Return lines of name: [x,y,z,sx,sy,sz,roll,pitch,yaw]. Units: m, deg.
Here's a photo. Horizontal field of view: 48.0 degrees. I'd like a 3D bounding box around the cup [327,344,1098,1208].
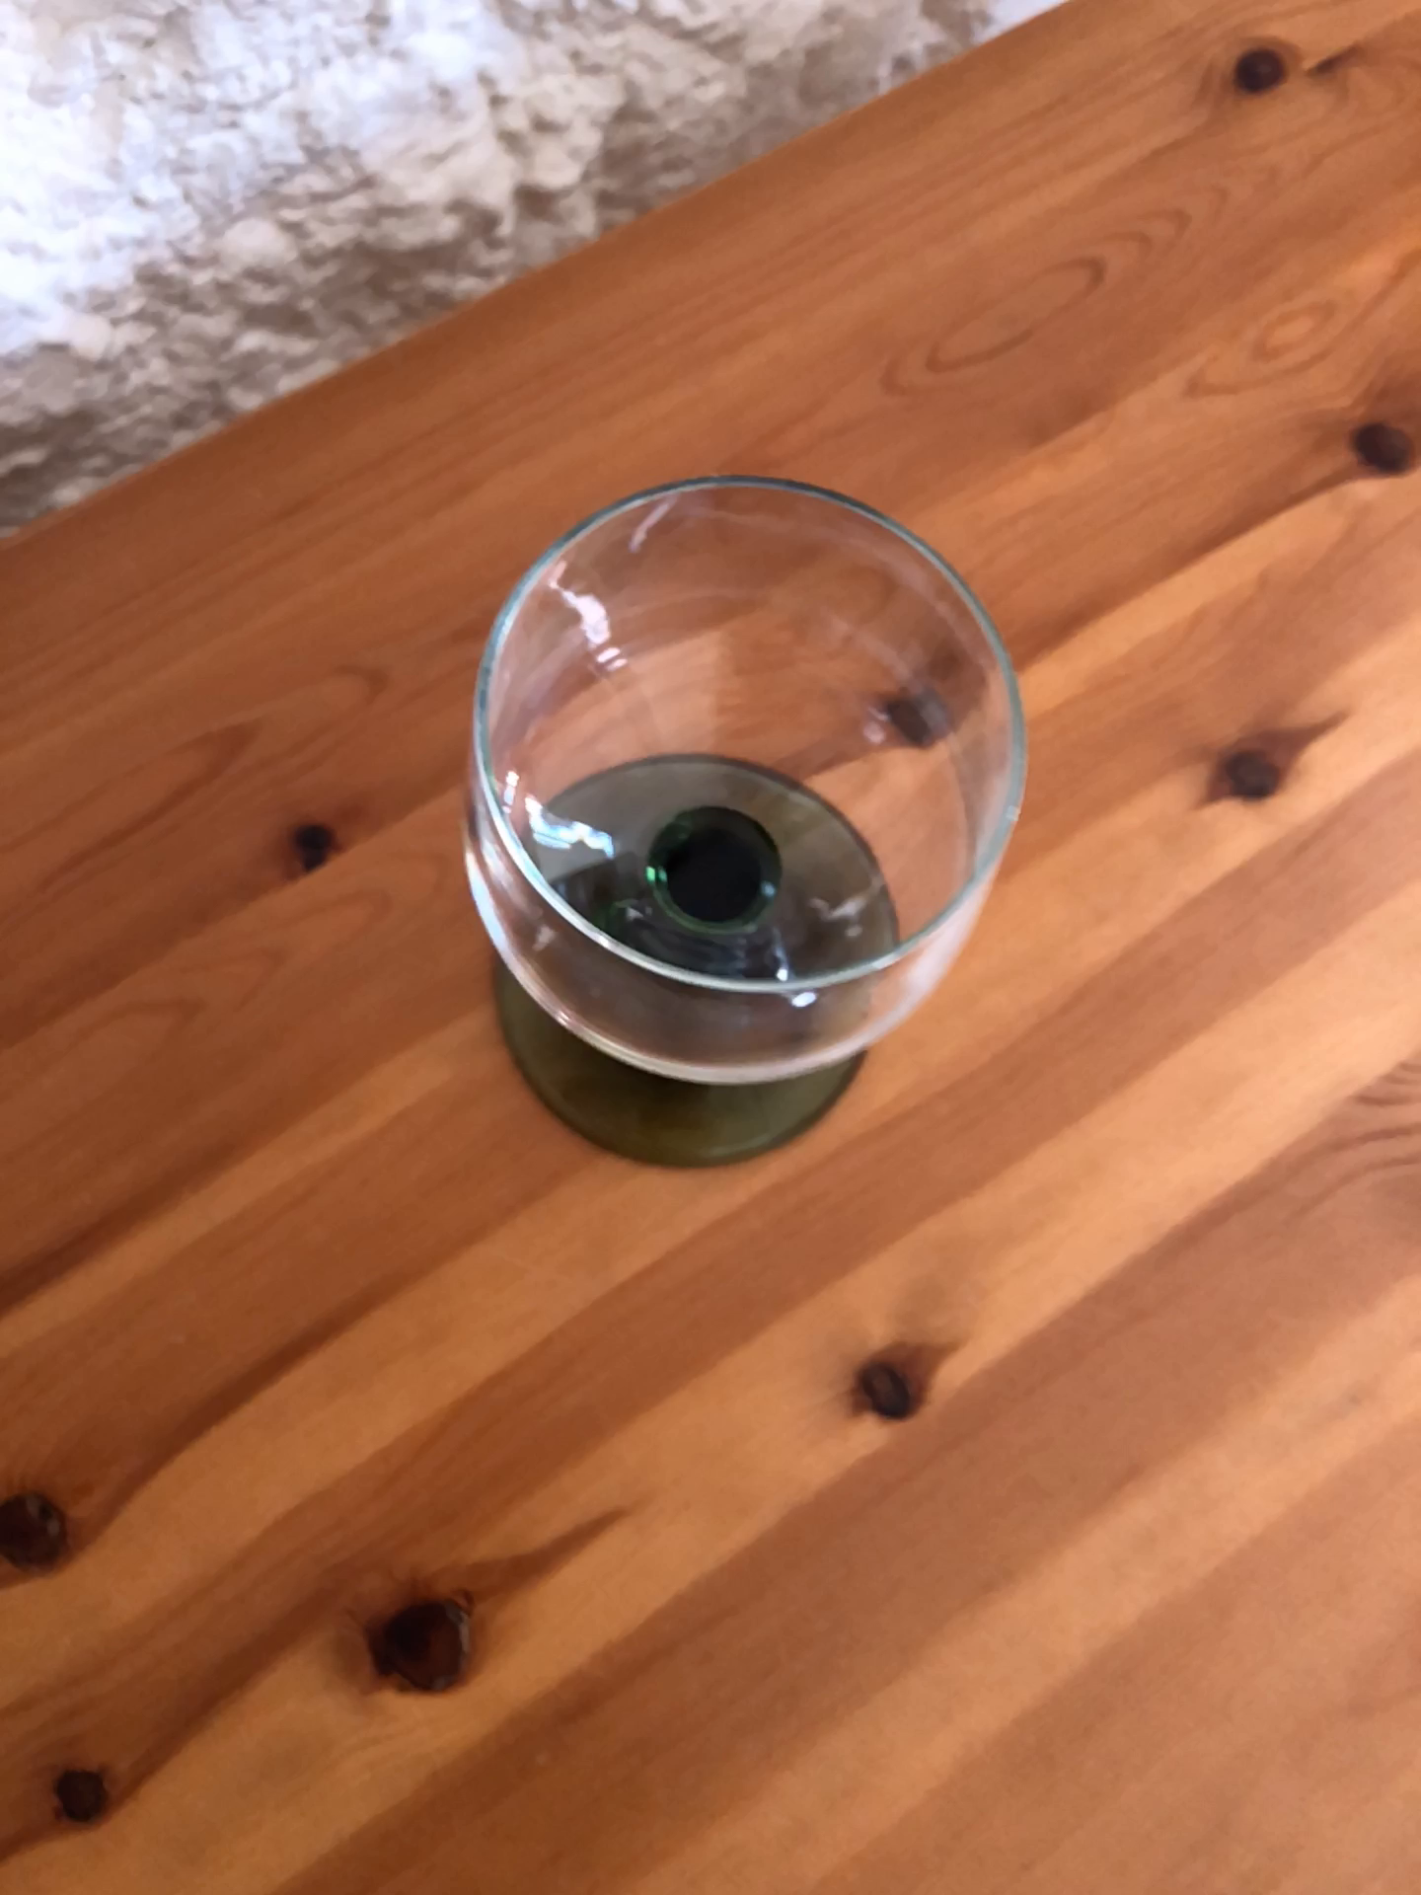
cup: [-0.001,-0.013,0.225,0.073,0.106,0.074,1,73,-4]
